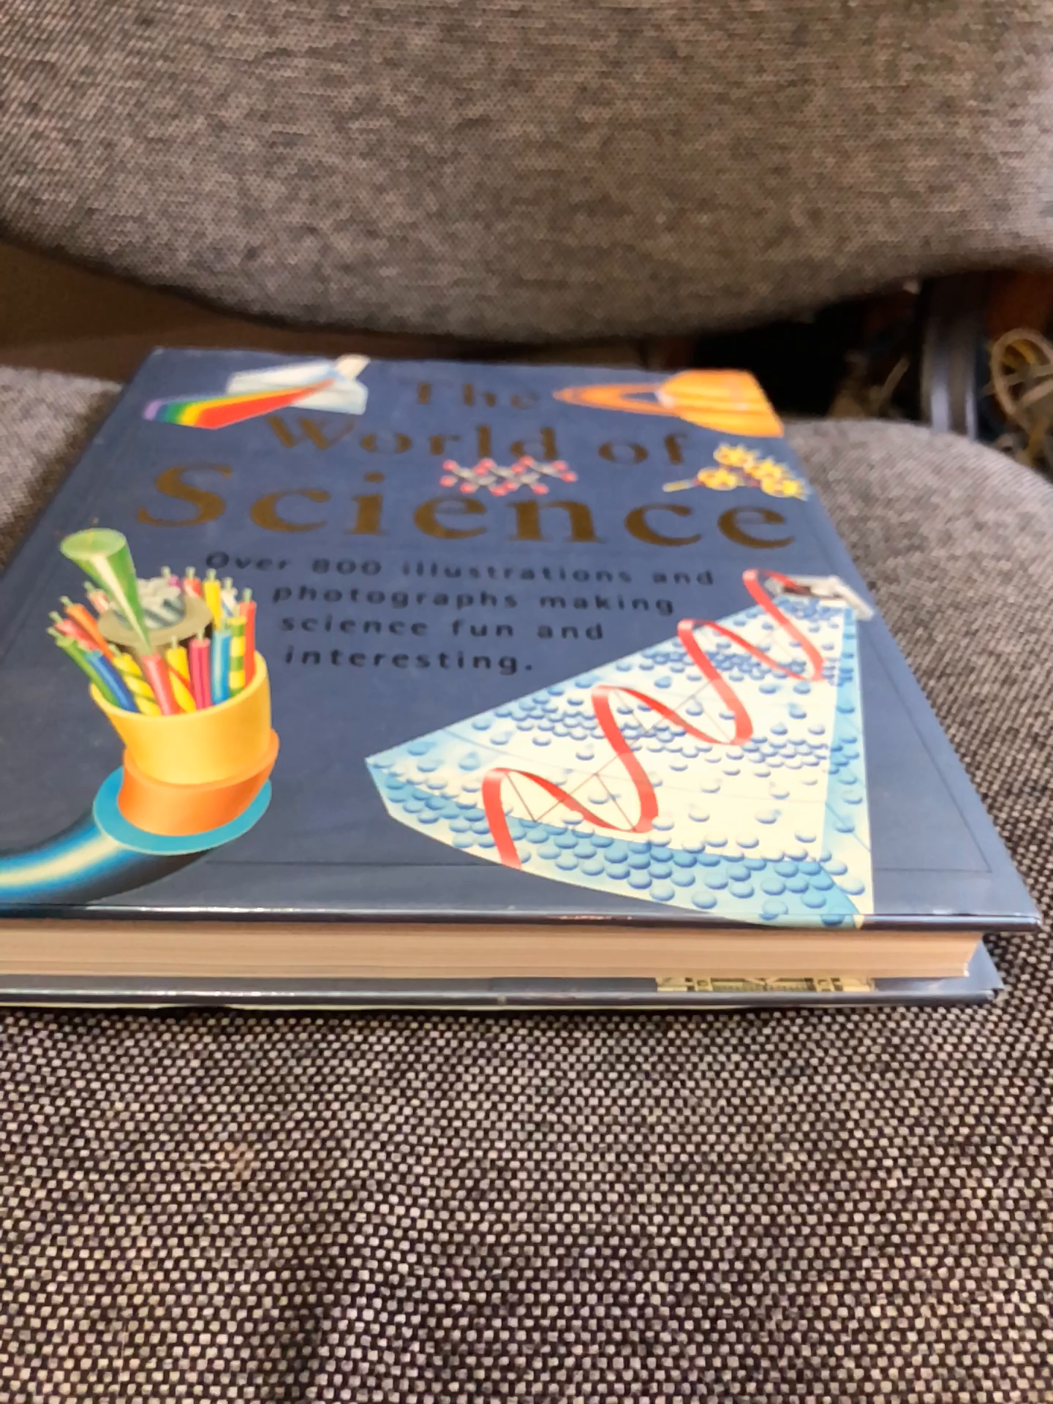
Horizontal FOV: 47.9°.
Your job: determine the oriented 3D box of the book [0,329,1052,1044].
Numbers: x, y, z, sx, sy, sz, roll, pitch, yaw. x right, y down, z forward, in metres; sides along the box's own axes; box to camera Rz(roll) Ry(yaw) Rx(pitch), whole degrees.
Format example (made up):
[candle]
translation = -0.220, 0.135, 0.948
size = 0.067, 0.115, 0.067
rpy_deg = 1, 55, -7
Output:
[book]
translation = -0.024, -0.032, 0.317
size = 0.220, 0.030, 0.277
rpy_deg = 1, 36, -5
